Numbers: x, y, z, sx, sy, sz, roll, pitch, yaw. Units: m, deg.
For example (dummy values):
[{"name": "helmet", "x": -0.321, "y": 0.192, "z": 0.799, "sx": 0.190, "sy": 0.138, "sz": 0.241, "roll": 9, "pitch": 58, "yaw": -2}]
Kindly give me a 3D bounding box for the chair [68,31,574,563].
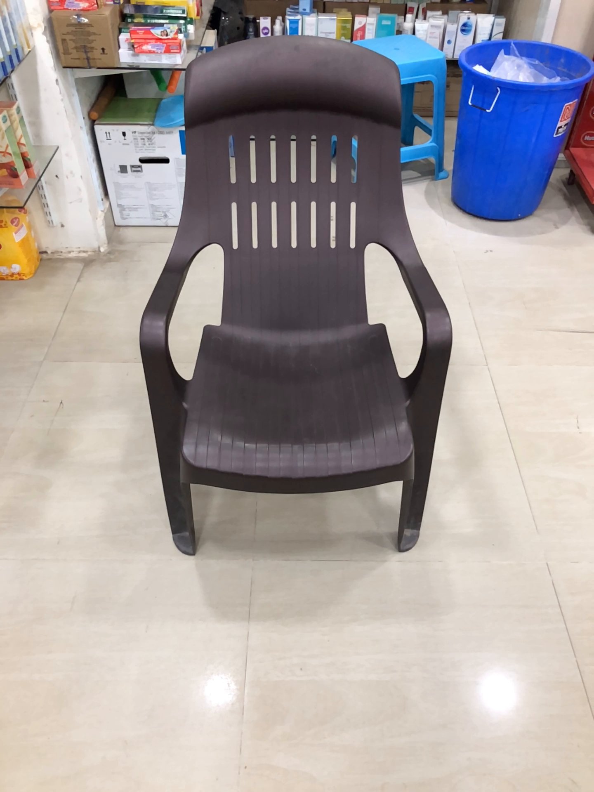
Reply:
[{"name": "chair", "x": 0.022, "y": -0.191, "z": 1.349, "sx": 0.630, "sy": 0.844, "sz": 0.684, "roll": -1, "pitch": 44, "yaw": -1}]
